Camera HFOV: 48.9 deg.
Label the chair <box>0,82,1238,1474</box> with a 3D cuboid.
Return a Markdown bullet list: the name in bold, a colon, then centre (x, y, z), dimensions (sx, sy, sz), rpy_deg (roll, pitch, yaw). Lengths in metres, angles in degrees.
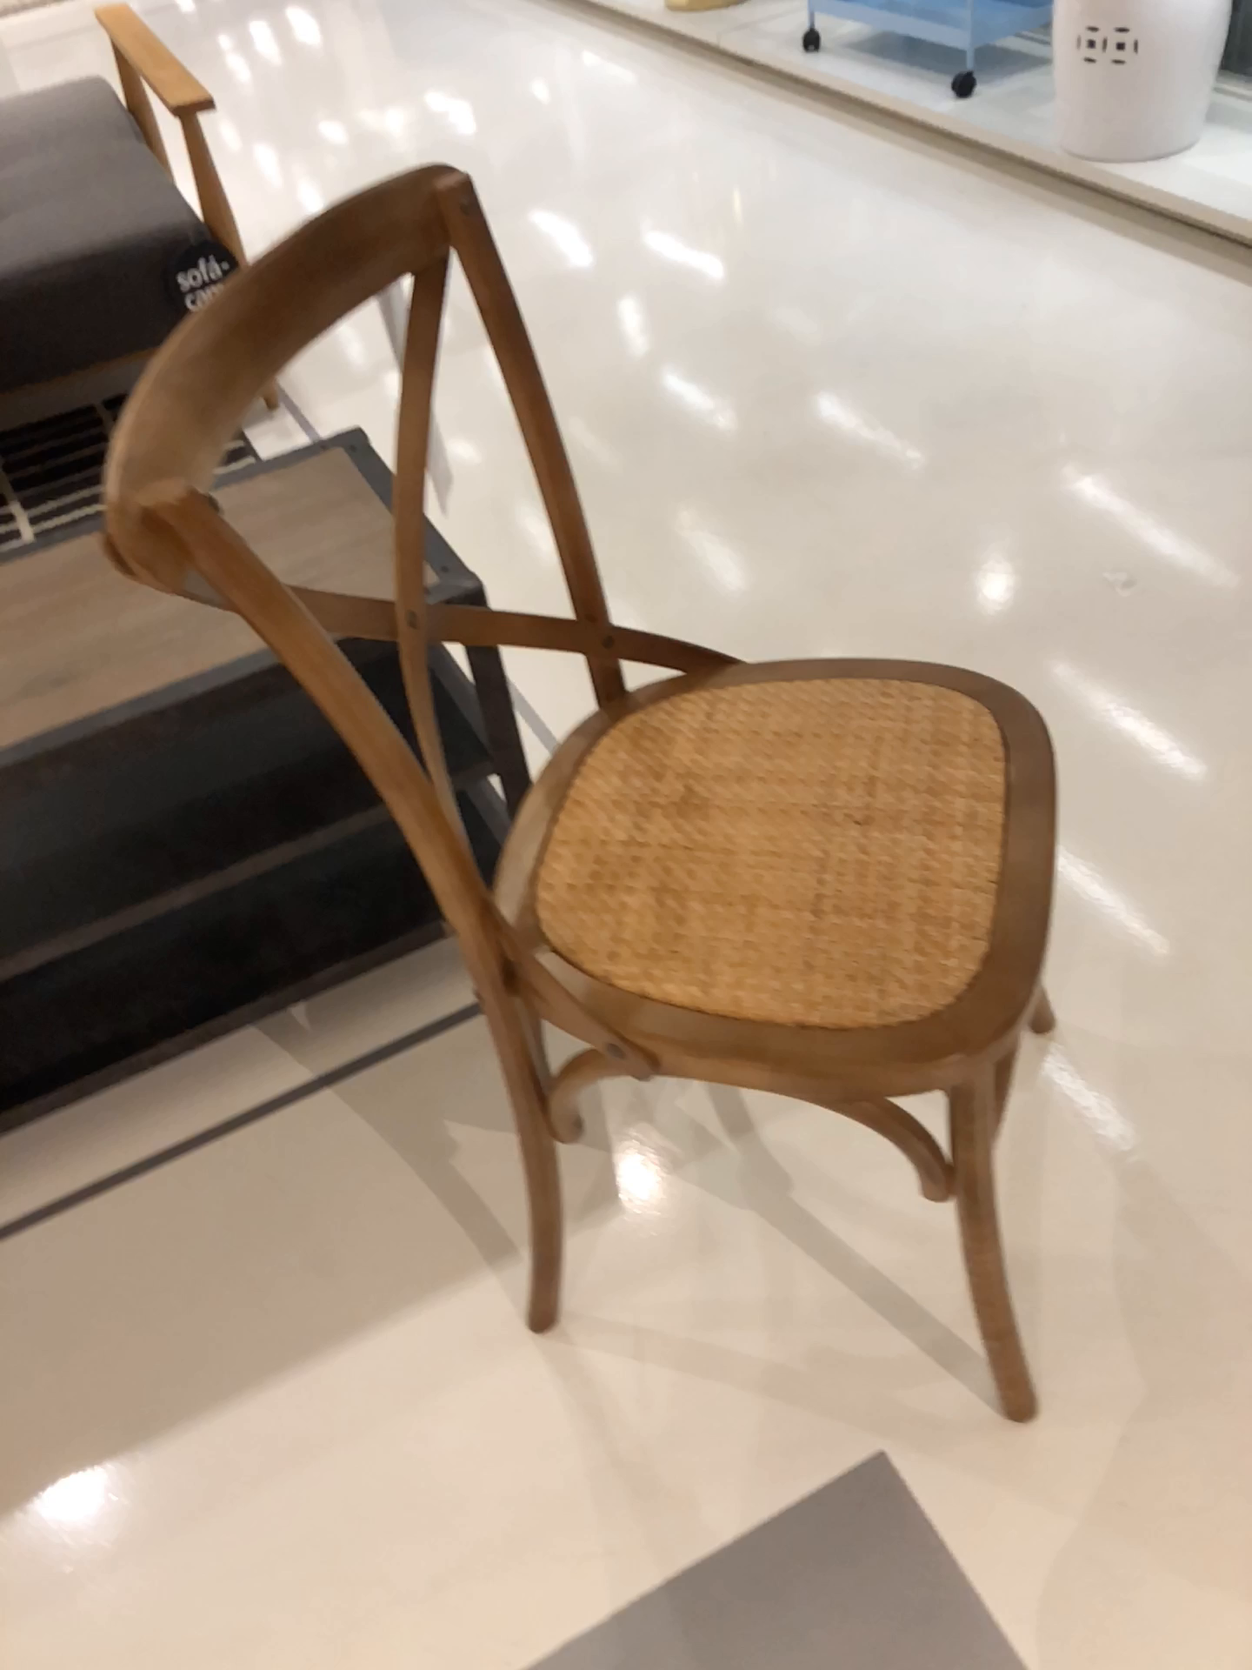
- **chair**: centre (0.072, 0.000, 1.049), dimensions (0.570, 0.864, 0.503), rpy_deg (4, 45, 16)
